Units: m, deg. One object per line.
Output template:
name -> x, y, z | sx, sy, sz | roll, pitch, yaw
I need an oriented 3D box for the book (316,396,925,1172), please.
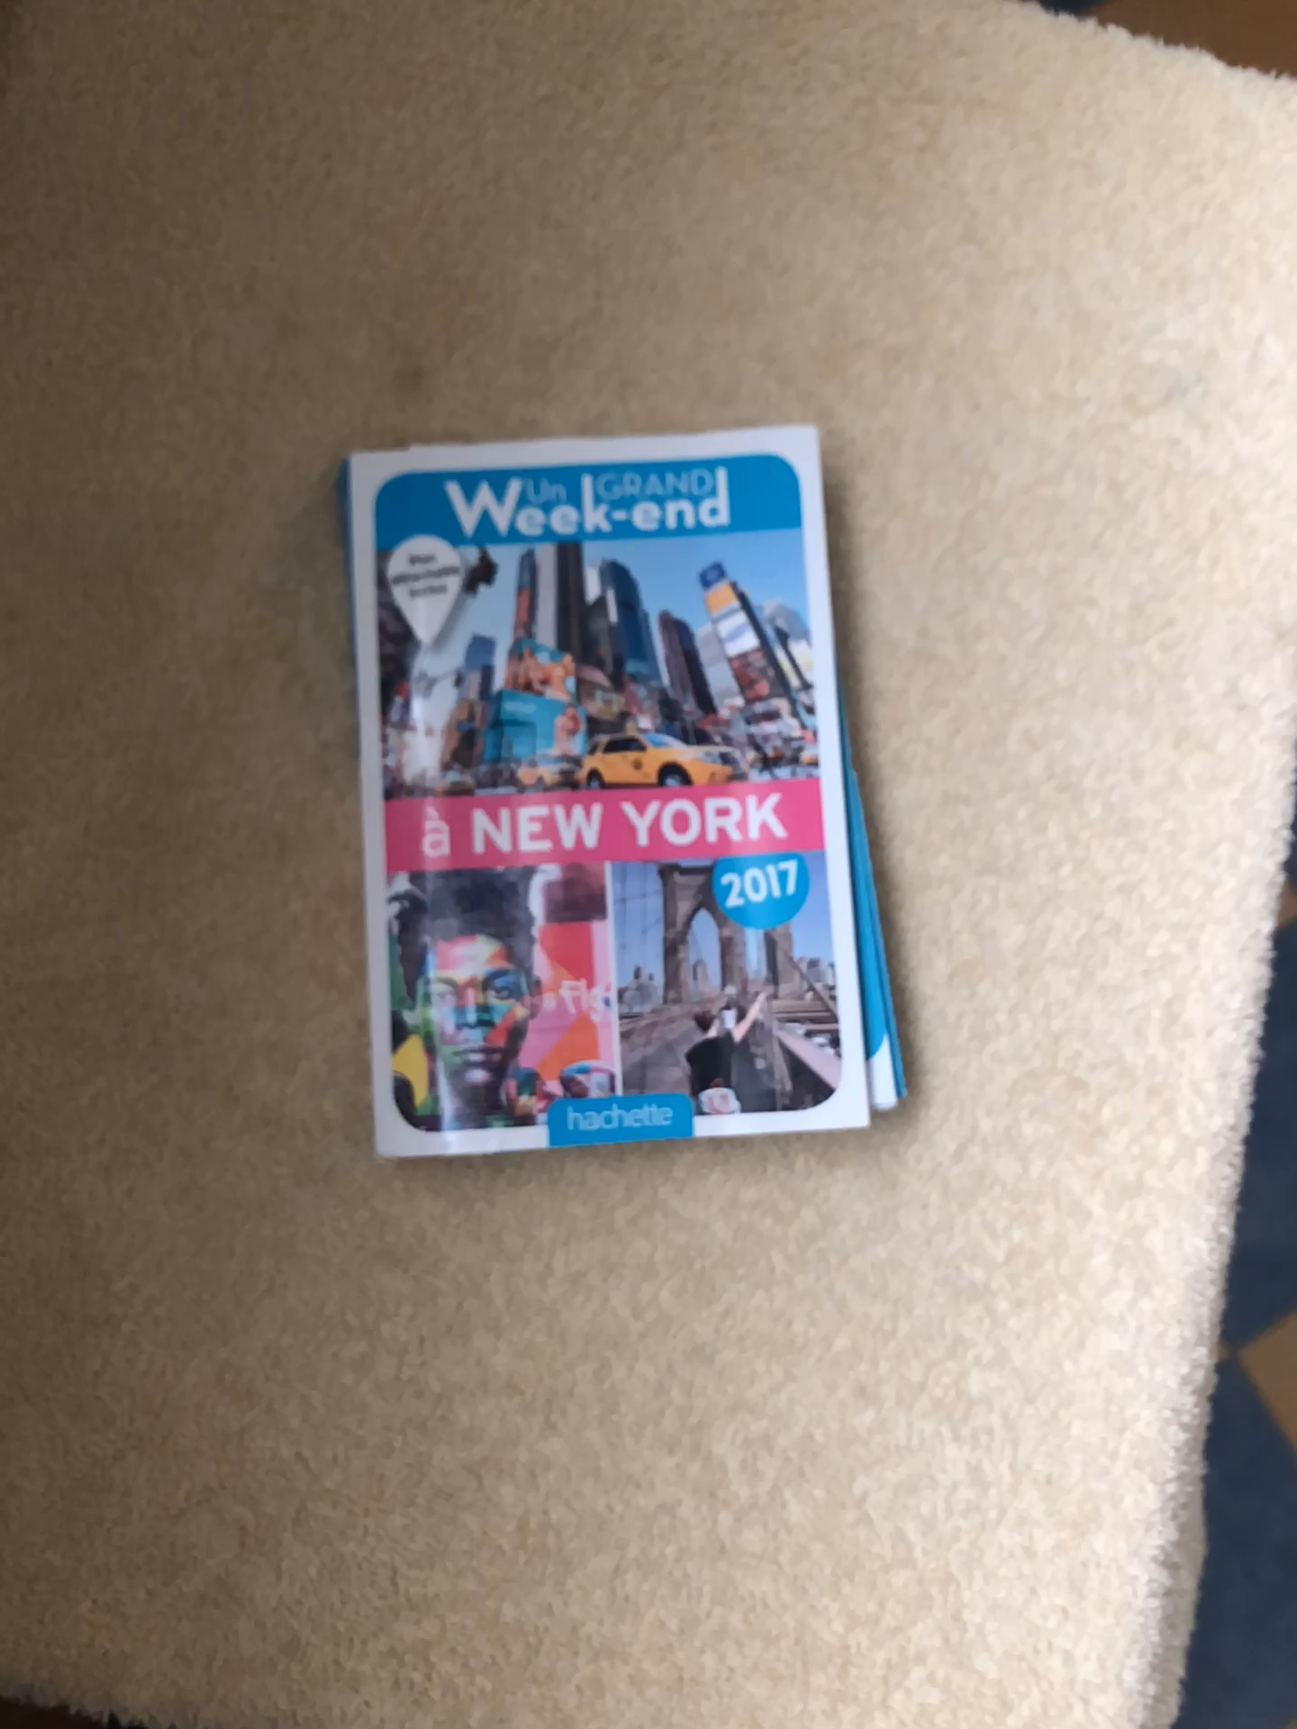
book -> -0.008, -0.019, 0.321 | 0.120, 0.020, 0.160 | -4, 82, 1
